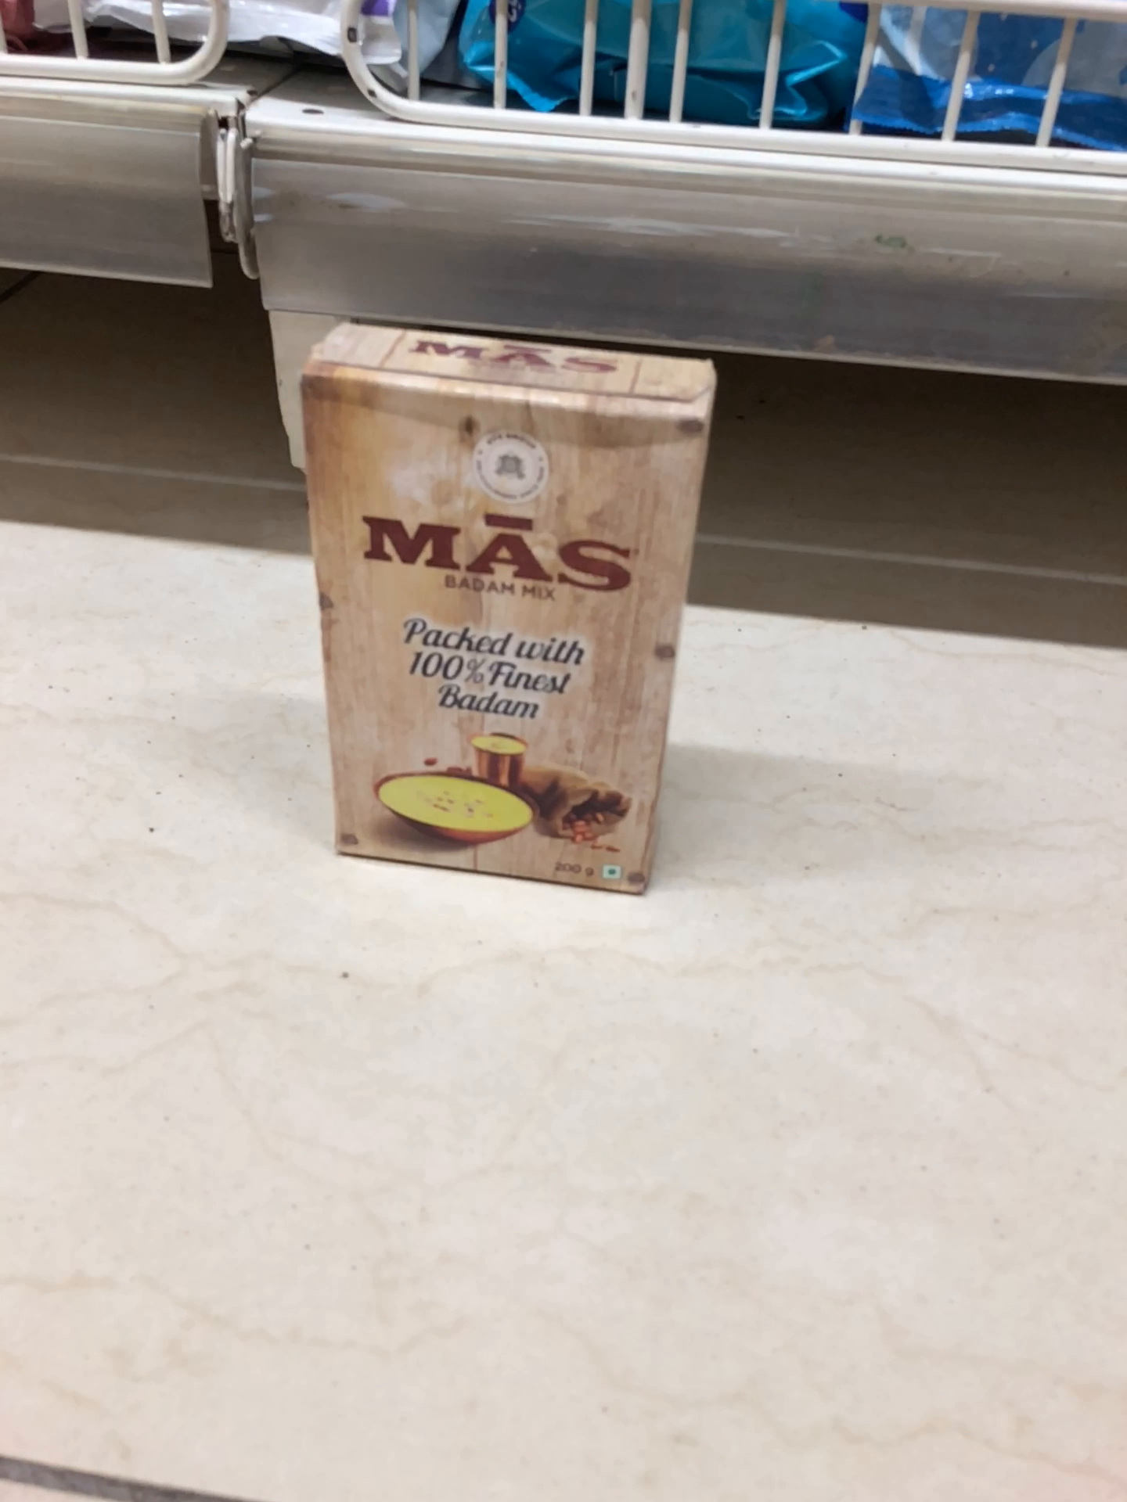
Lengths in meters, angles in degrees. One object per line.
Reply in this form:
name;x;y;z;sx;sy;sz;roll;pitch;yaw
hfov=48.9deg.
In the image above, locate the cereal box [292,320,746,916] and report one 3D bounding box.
cereal box;-0.011;-0.028;0.300;0.090;0.129;0.040;9;36;5
